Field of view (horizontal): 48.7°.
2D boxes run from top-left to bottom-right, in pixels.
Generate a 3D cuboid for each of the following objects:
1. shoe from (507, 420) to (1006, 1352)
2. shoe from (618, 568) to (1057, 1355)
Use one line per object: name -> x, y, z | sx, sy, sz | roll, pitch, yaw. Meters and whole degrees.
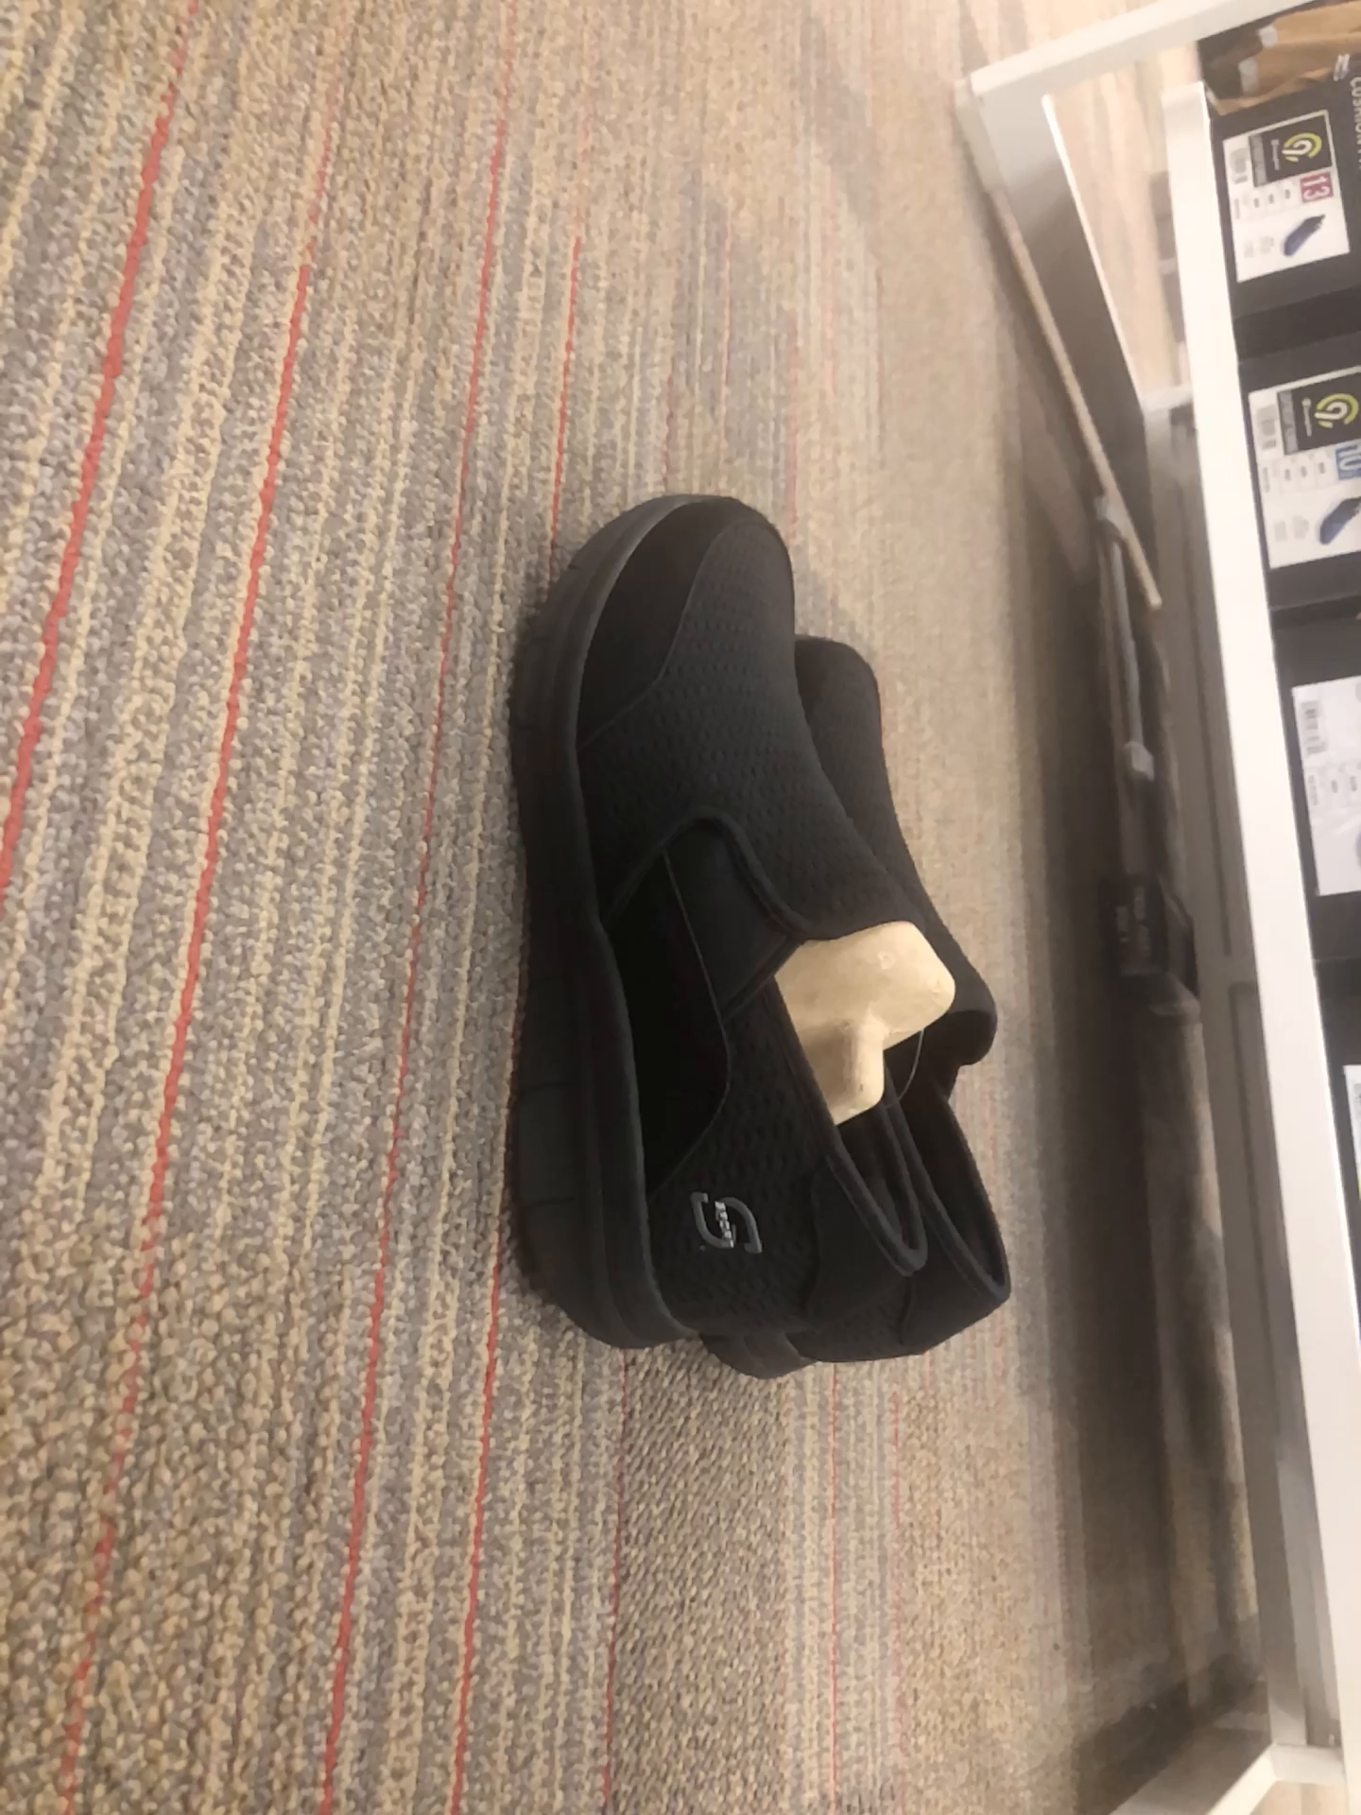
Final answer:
shoe -> 0.026, 0.003, 0.473 | 0.117, 0.105, 0.257 | 32, 53, -59
shoe -> 0.058, 0.028, 0.541 | 0.121, 0.109, 0.247 | 35, 51, -58
